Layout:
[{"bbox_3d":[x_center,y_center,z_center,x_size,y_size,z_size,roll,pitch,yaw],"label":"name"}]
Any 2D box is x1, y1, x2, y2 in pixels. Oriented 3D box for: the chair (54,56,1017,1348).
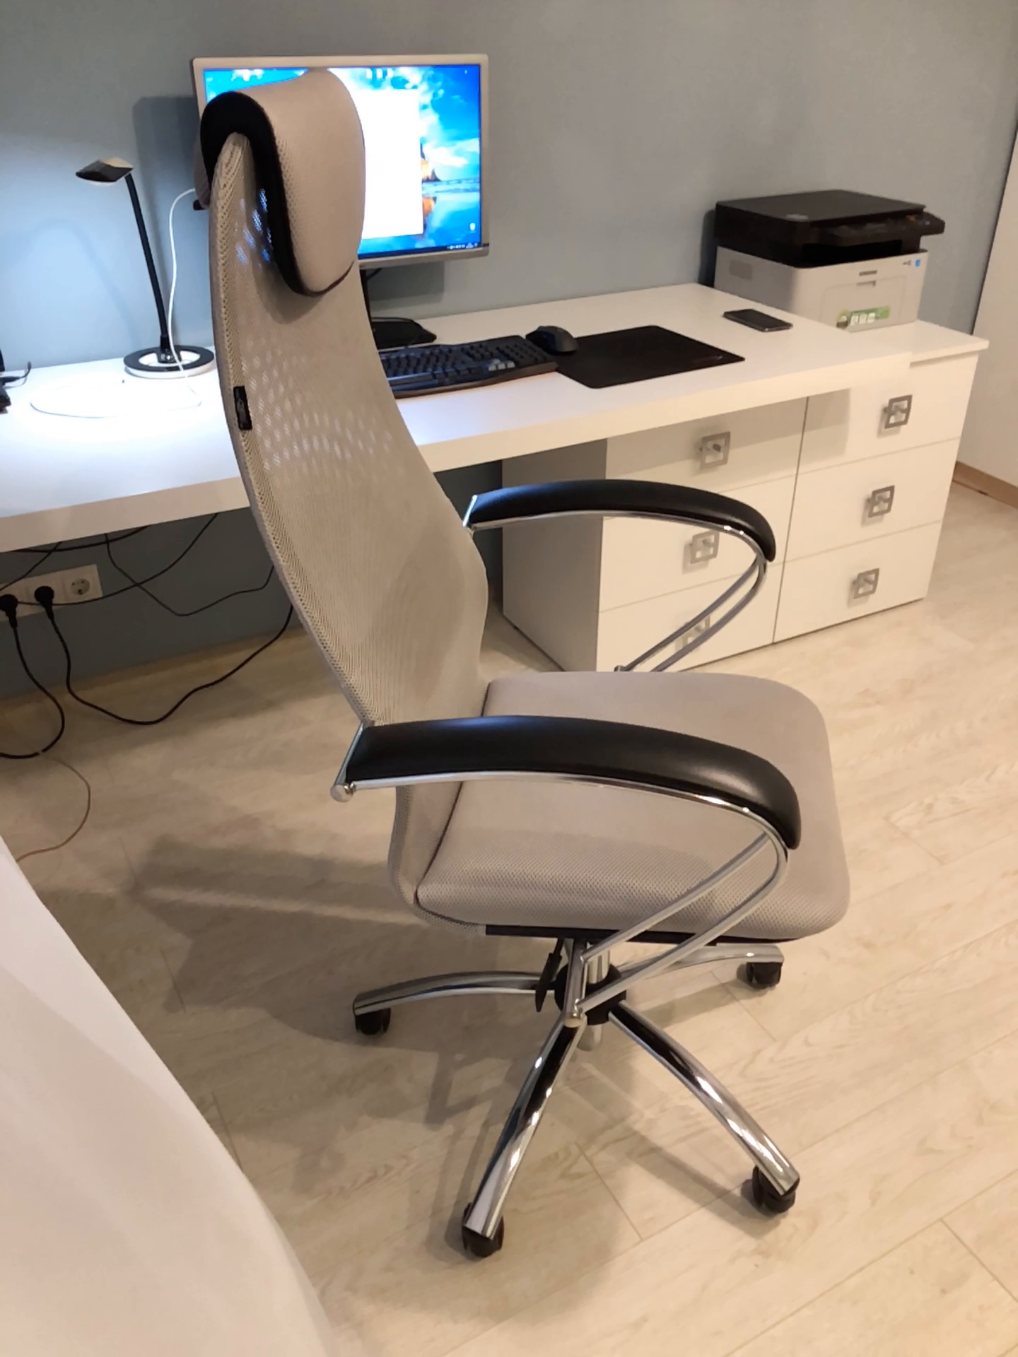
[{"bbox_3d":[0.086,0.031,1.305,0.680,1.291,0.695,5,32,7],"label":"chair"}]
